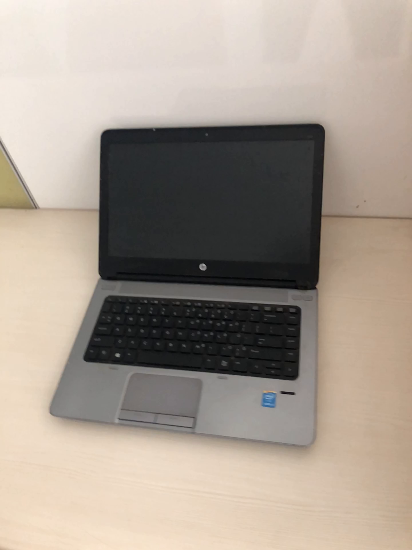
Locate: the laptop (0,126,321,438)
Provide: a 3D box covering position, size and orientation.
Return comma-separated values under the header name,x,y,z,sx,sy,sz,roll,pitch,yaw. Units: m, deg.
name,x,y,z,sx,sy,sz,roll,pitch,yaw
laptop,-0.018,-0.019,0.602,0.322,0.148,0.379,2,51,13
